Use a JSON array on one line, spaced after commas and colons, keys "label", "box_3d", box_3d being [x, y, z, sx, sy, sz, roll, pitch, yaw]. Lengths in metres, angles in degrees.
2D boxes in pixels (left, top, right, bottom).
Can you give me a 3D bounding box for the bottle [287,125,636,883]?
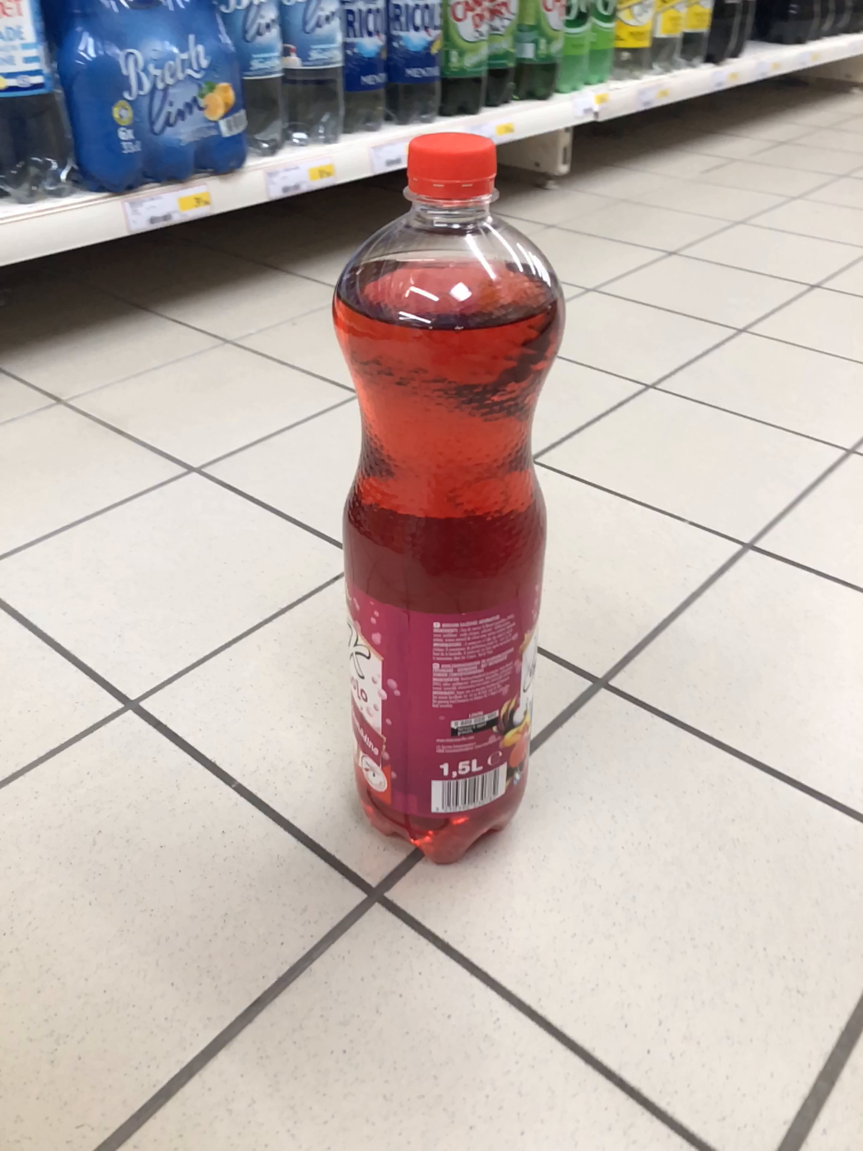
[{"label": "bottle", "box_3d": [0.003, -0.016, 0.408, 0.100, 0.308, 0.101, 0, 34, 0]}]
